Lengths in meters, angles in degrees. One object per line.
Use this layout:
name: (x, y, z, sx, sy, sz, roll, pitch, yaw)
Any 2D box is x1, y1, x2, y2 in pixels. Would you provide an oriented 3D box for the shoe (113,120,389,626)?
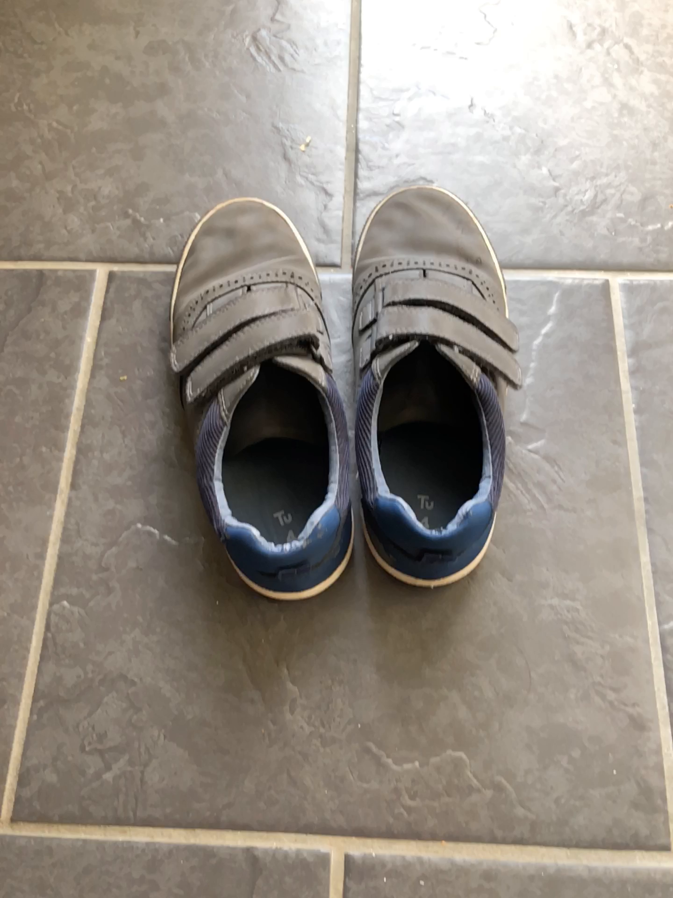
shoe: (-0.049, -0.046, 0.398, 0.100, 0.070, 0.251, -11, 69, -2)

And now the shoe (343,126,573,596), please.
shoe: (0.055, -0.052, 0.409, 0.100, 0.070, 0.251, -1, 69, 2)
